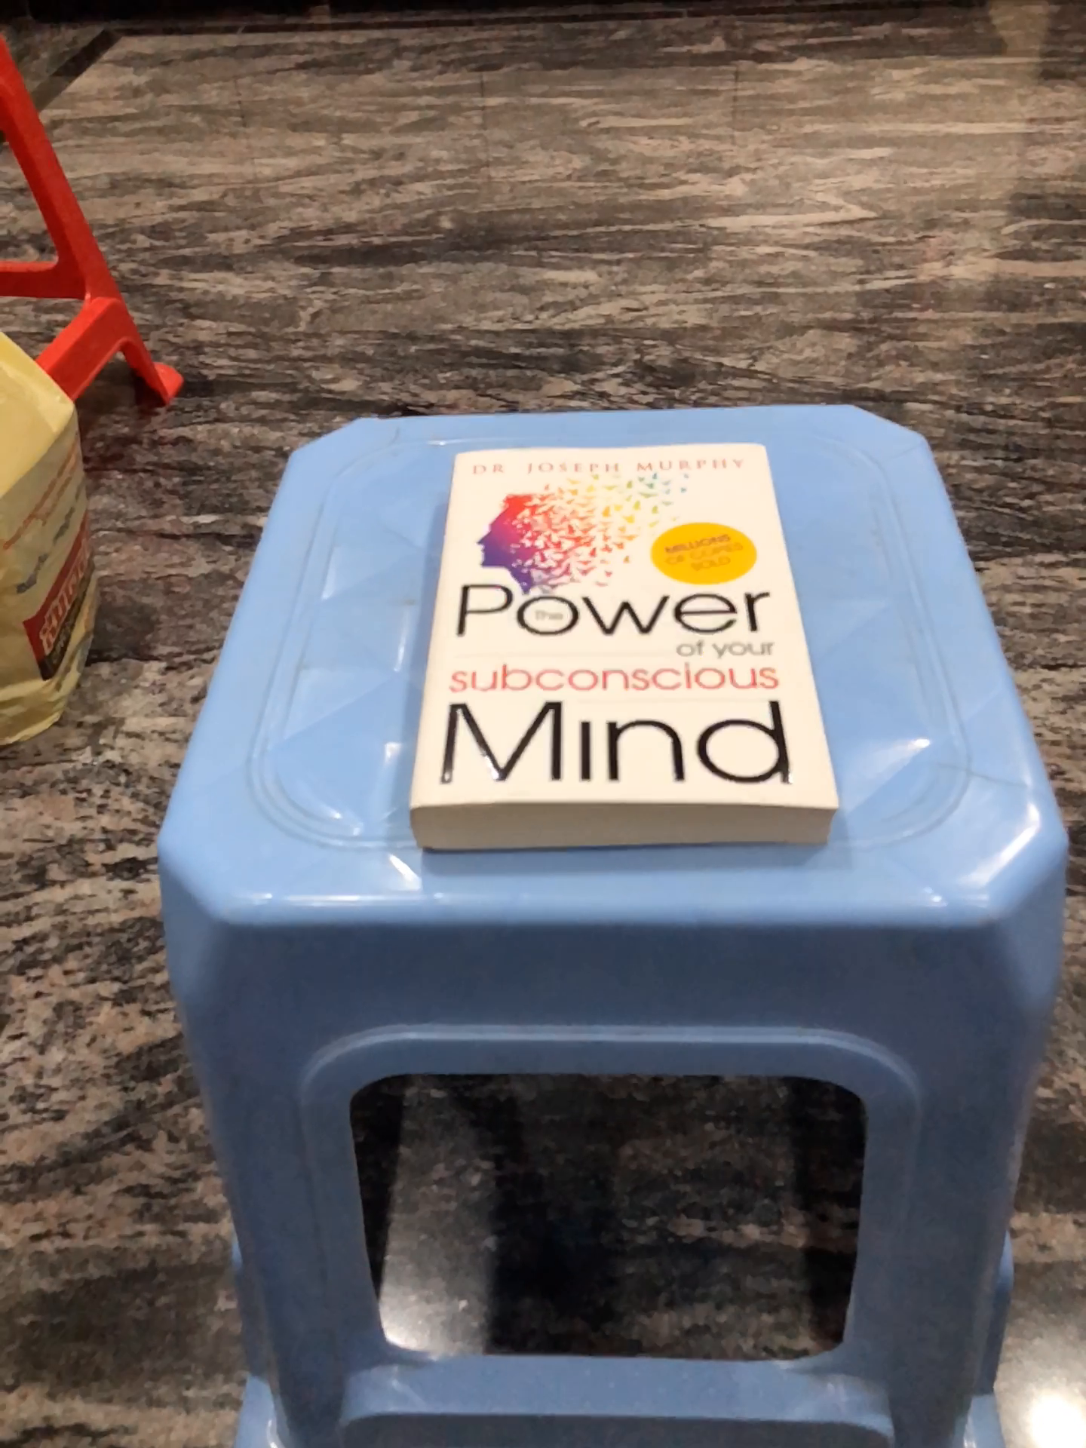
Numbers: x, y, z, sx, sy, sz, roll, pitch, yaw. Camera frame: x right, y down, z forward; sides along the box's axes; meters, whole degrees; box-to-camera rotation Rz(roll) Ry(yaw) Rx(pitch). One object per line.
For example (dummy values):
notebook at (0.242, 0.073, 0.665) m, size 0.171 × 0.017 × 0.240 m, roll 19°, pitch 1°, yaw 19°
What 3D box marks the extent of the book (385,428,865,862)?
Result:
book at (0.024, -0.039, 0.431) m, size 0.140 × 0.030 × 0.201 m, roll -2°, pitch 44°, yaw 2°
